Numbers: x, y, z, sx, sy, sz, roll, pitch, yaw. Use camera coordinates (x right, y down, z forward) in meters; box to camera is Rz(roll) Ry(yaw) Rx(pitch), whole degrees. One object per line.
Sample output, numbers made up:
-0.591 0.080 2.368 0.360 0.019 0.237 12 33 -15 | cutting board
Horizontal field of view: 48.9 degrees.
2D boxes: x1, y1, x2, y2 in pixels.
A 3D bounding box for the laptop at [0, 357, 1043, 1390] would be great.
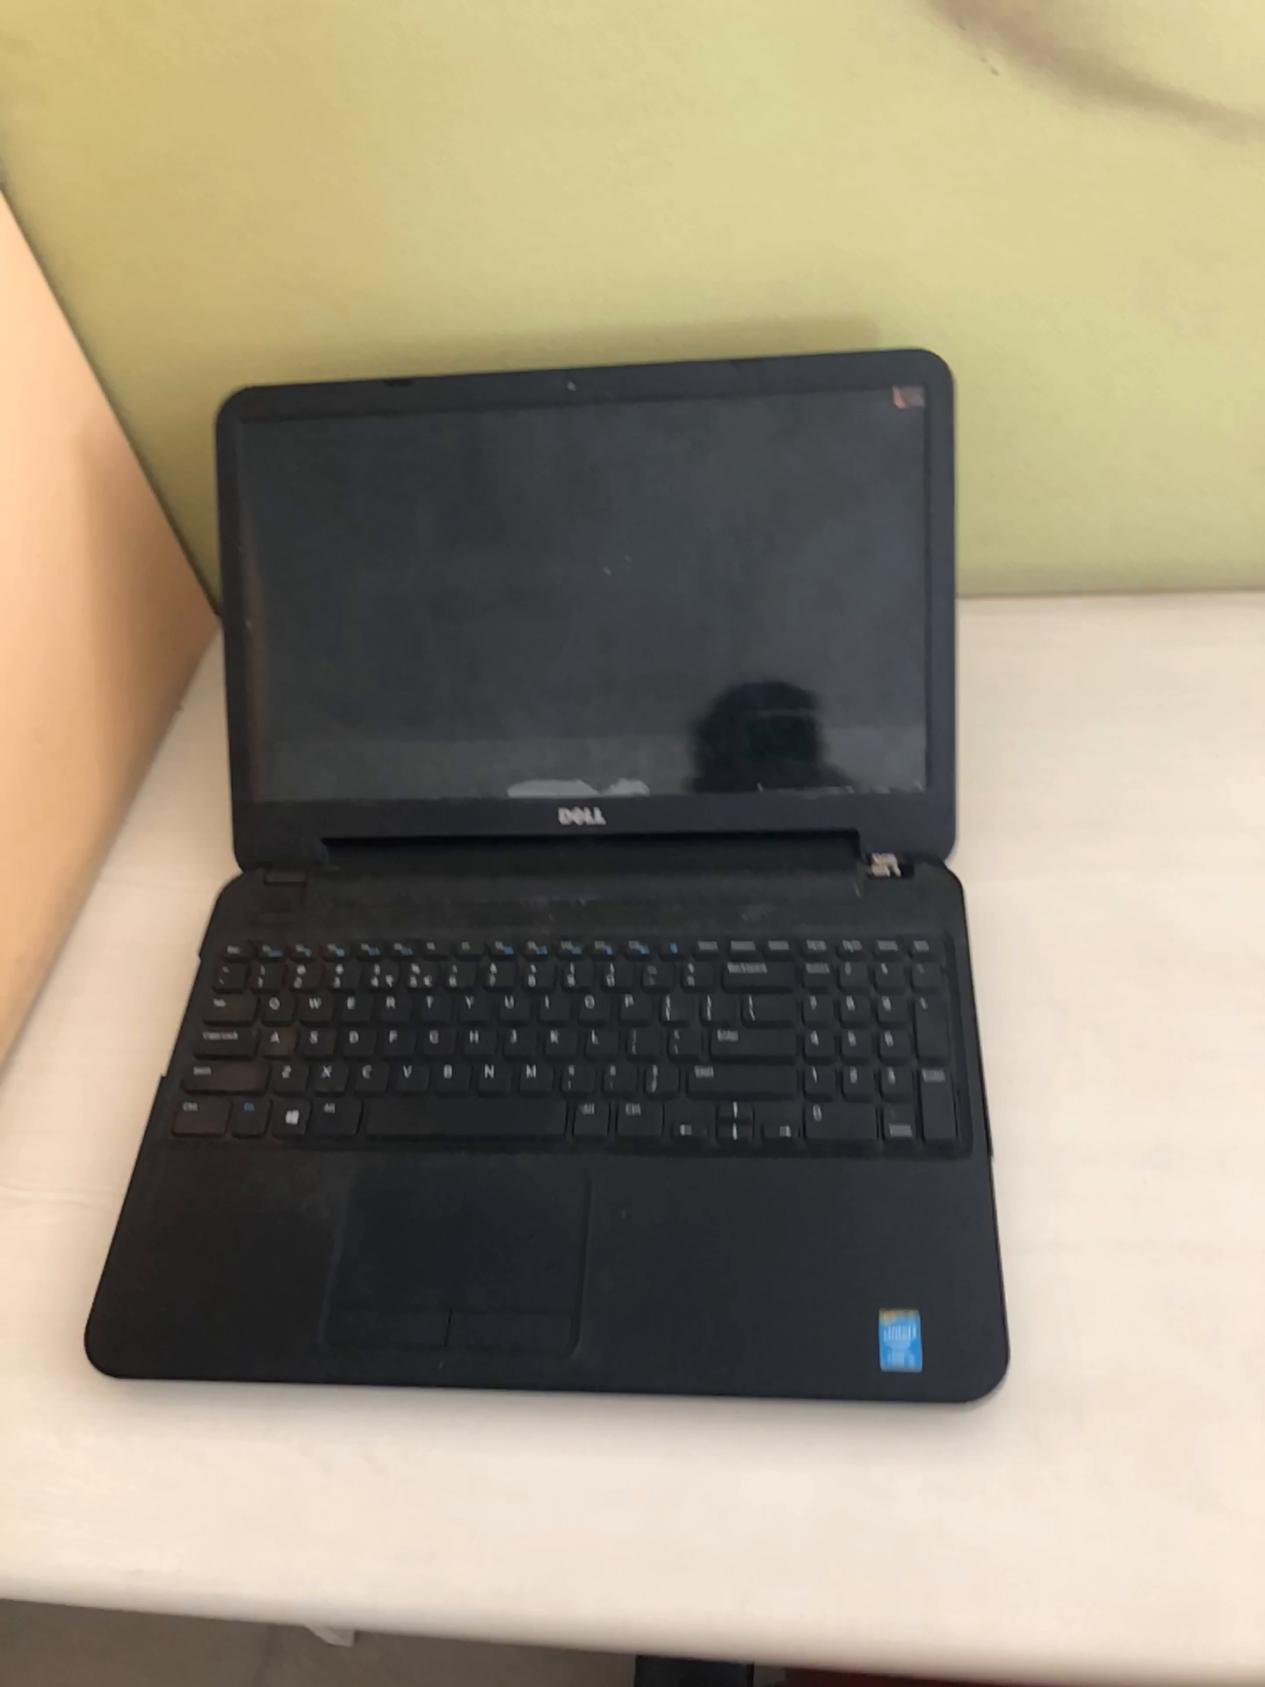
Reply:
-0.035 -0.010 0.612 0.356 0.165 0.426 -1 51 7 | laptop
